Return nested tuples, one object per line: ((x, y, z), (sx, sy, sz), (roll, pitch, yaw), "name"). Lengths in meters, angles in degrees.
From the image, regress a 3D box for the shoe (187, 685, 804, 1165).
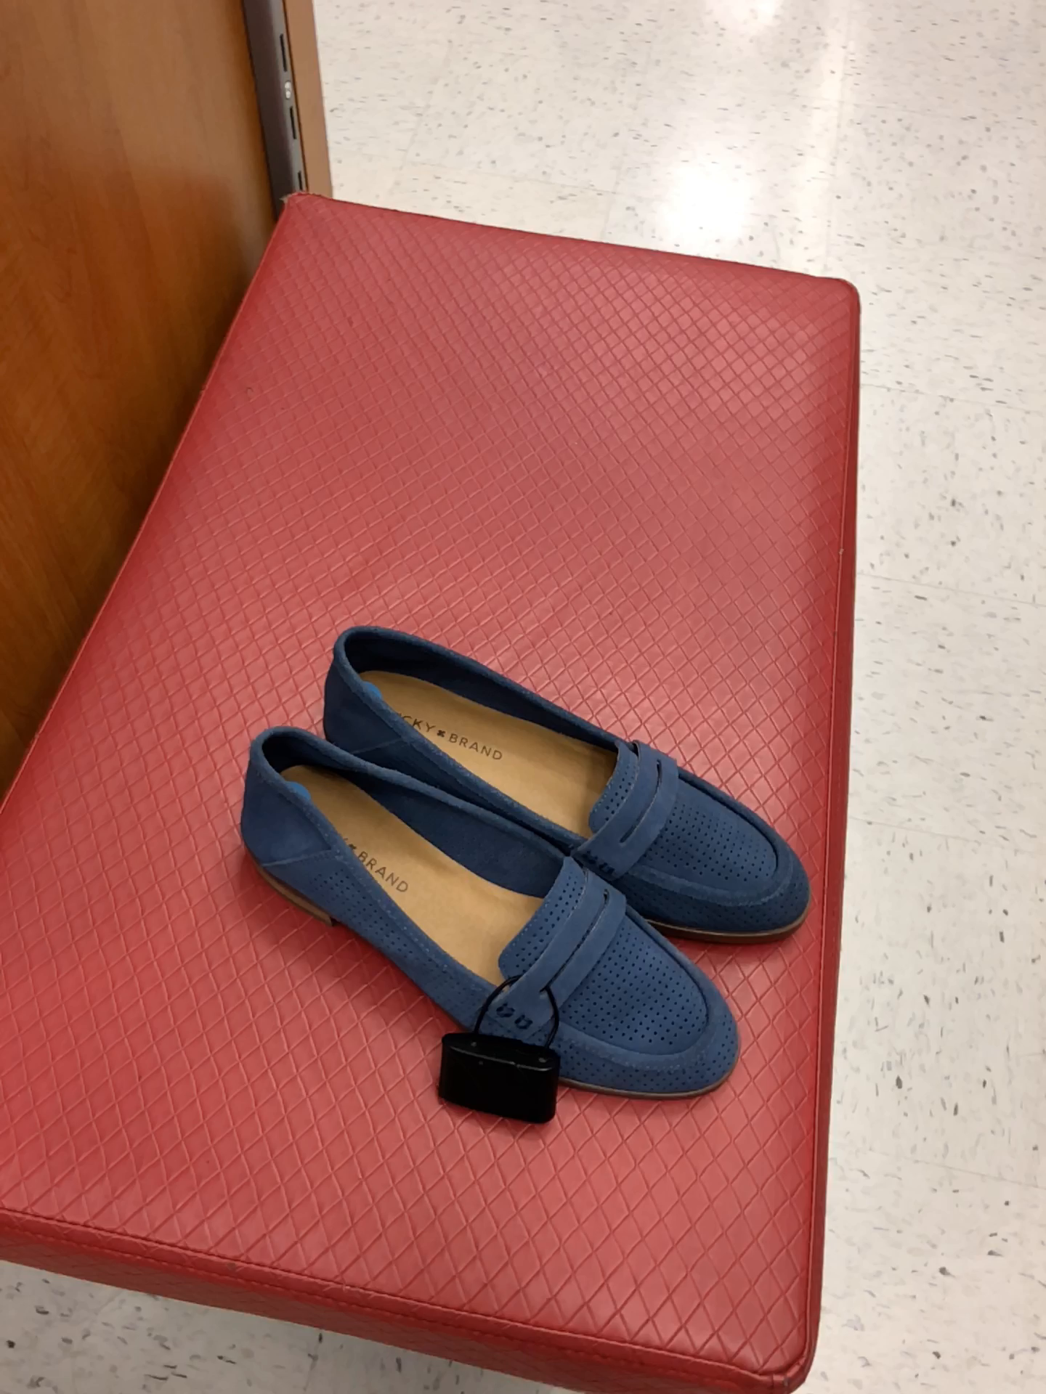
((-0.016, 0.098, 0.515), (0.254, 0.069, 0.082), (26, 60, 14), "shoe")

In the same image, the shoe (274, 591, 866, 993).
((0.020, 0.043, 0.556), (0.258, 0.069, 0.085), (20, 59, 10), "shoe")
